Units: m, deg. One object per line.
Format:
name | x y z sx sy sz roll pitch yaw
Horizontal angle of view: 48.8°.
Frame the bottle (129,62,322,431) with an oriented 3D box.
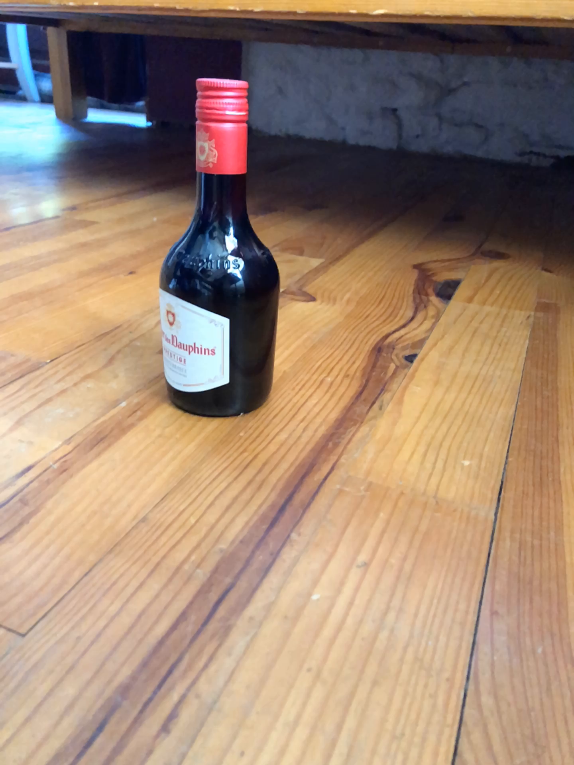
bottle | -0.036 -0.071 0.334 0.060 0.169 0.070 -19 35 -40
